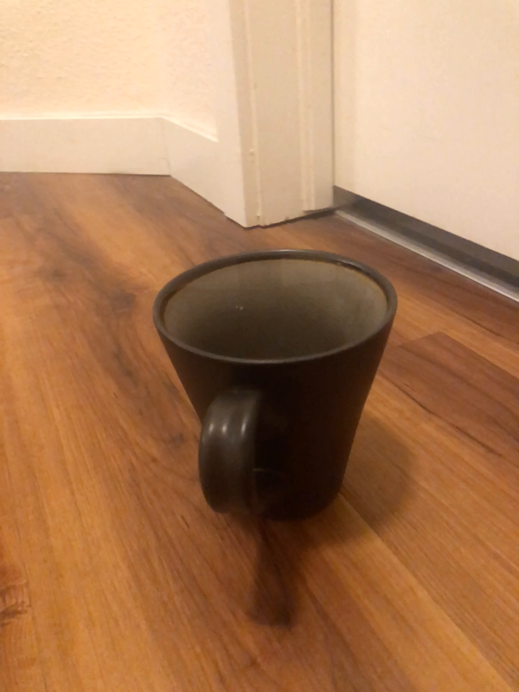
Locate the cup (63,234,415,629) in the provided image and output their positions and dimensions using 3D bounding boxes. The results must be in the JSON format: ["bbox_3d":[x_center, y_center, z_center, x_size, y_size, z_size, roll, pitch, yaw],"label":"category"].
[{"bbox_3d":[0.009,0.023,0.270,0.114,0.100,0.155,3,31,12],"label":"cup"}]
